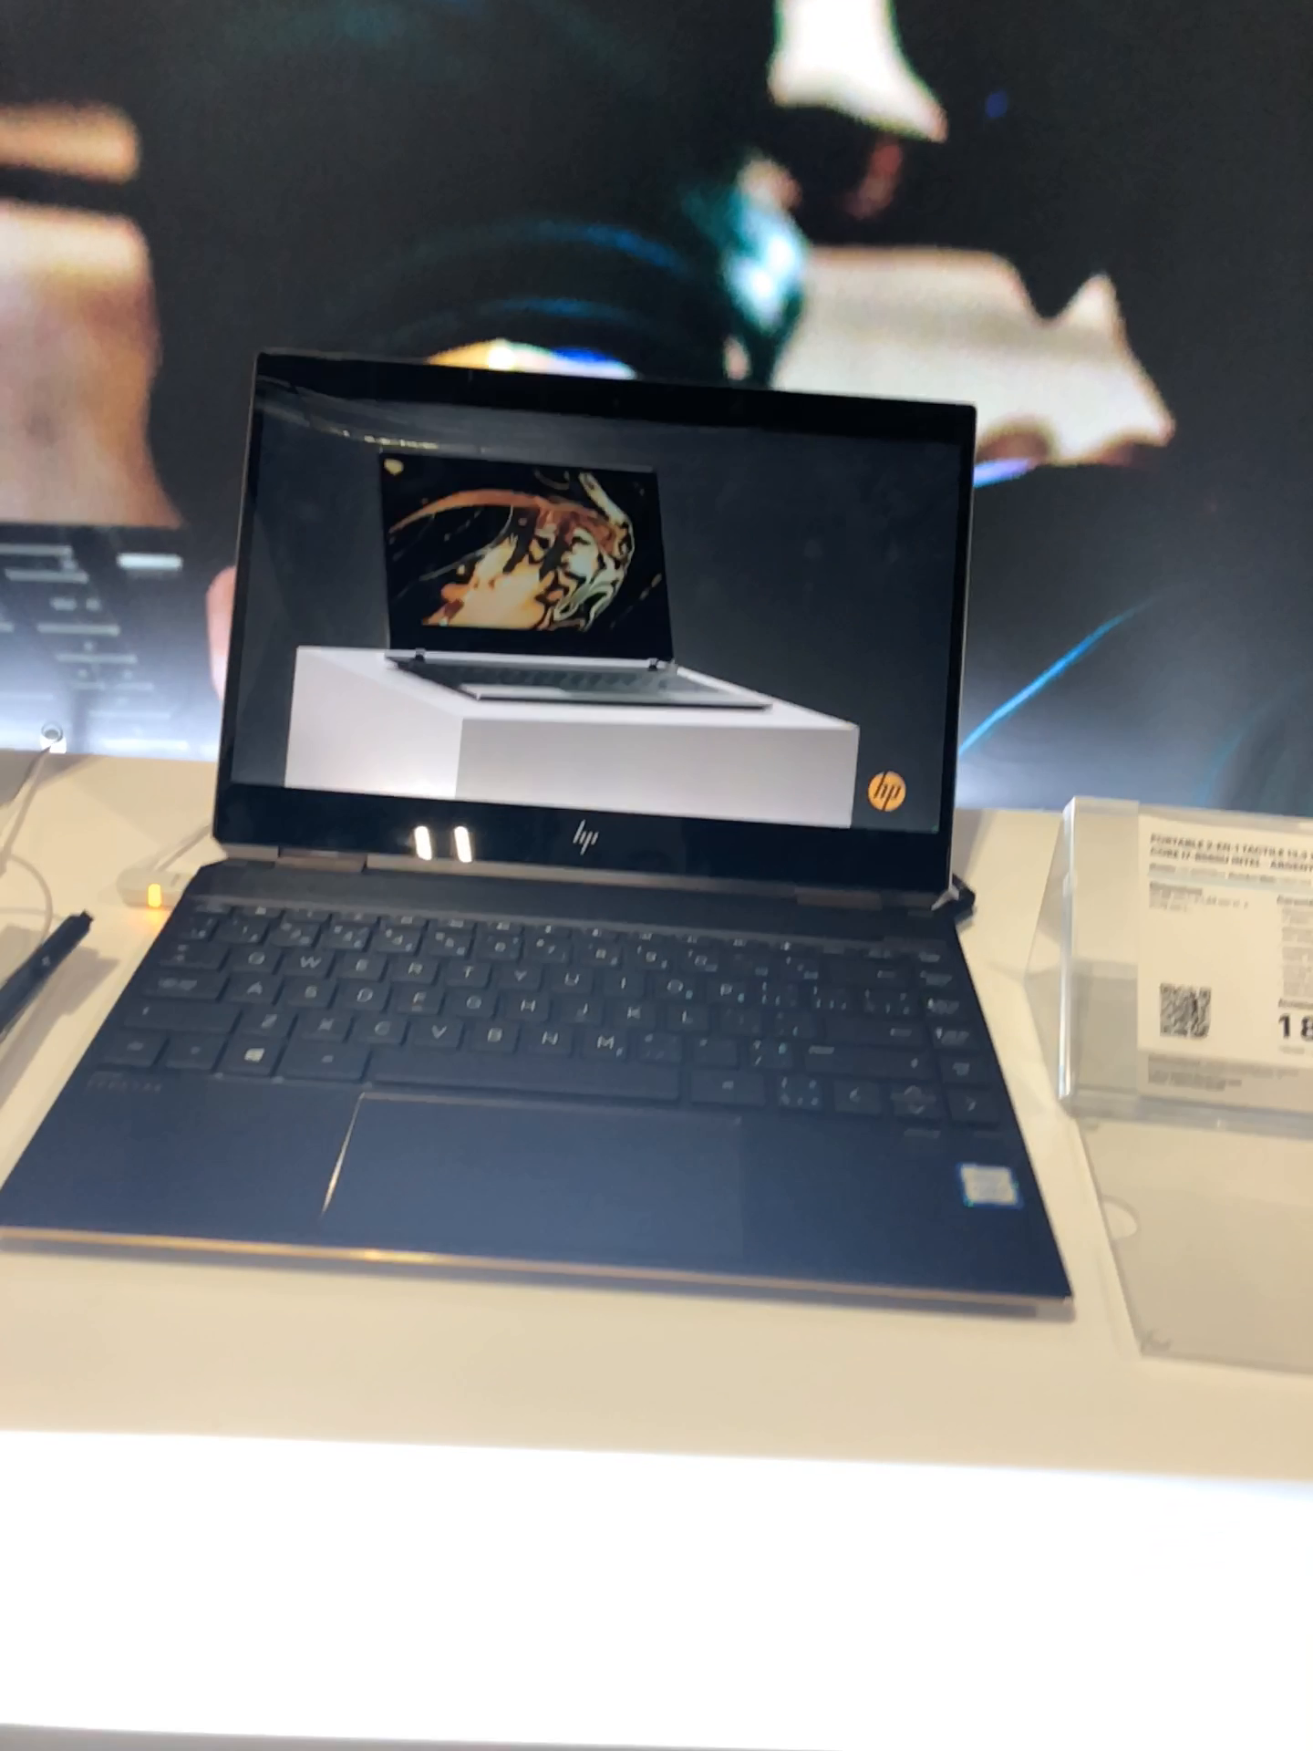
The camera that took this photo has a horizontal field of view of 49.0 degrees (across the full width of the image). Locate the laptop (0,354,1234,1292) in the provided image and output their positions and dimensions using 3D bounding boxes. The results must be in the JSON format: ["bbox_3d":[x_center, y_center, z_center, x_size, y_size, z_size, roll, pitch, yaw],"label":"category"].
[{"bbox_3d":[-0.025,-0.053,0.508,0.305,0.172,0.347,4,29,-1],"label":"laptop"}]
